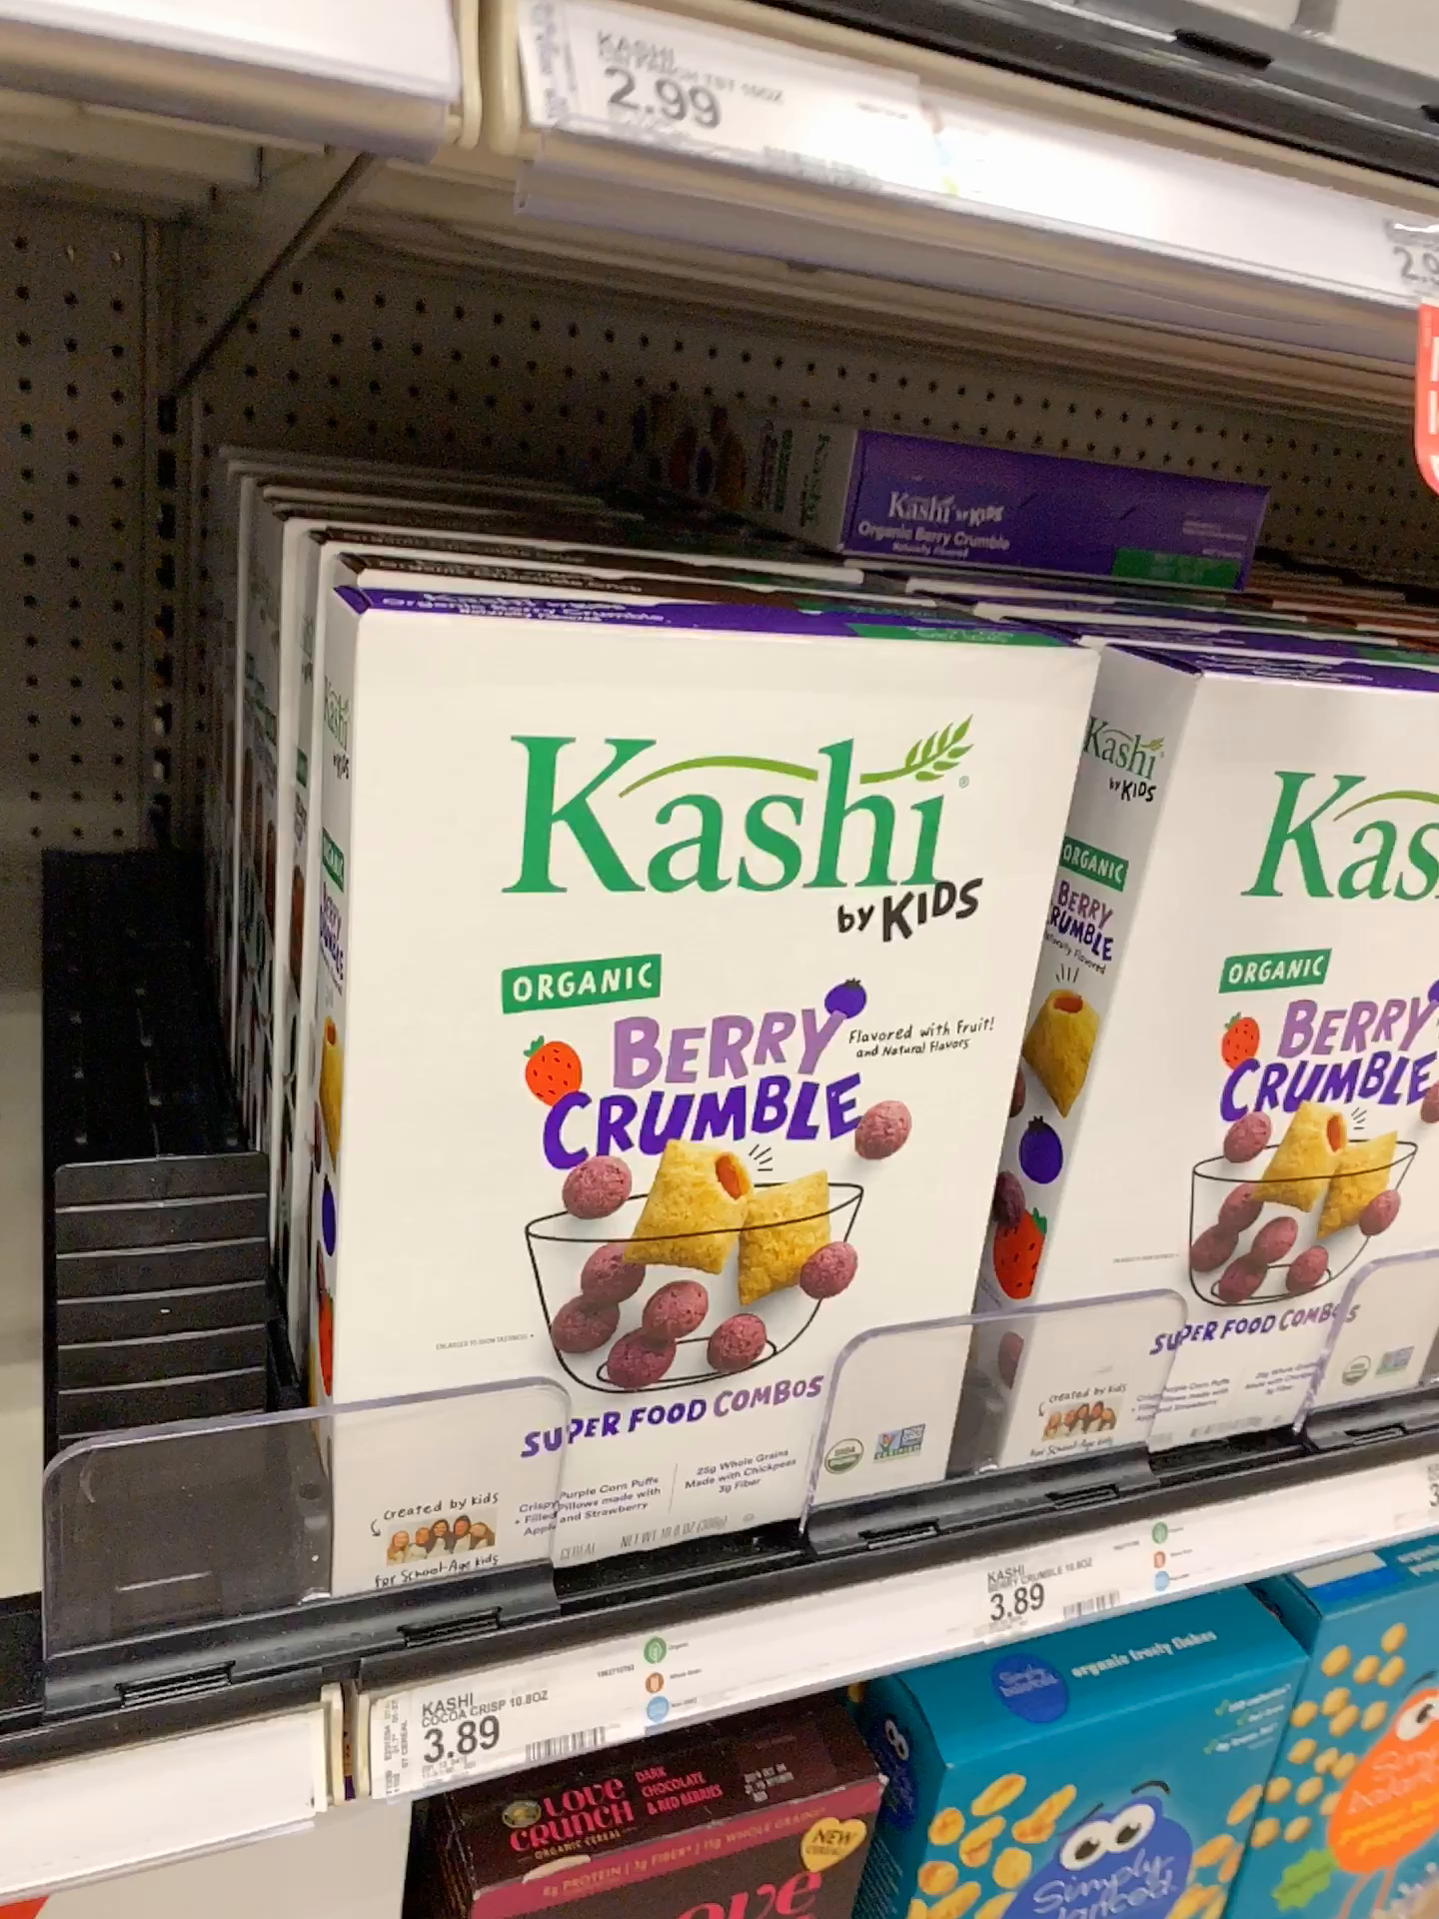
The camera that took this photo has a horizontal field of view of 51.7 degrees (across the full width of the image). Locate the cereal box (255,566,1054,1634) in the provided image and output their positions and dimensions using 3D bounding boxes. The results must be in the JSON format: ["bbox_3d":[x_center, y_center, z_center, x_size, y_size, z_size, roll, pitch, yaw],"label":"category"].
[{"bbox_3d":[-0.026,0.042,0.420,0.190,0.279,0.050,-2,23,-26],"label":"cereal box"}]
